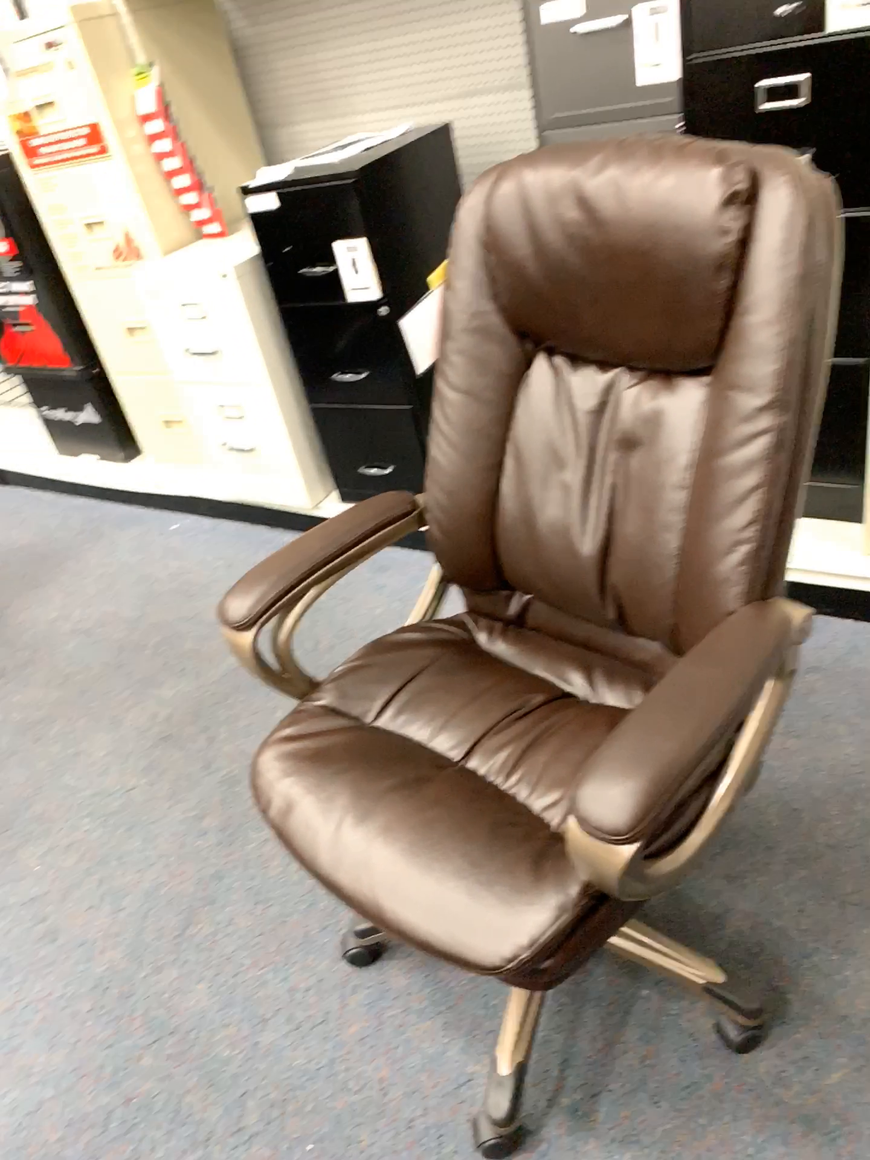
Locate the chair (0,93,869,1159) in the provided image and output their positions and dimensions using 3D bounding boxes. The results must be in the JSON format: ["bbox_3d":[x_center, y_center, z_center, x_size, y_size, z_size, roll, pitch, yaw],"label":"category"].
[{"bbox_3d":[0.118,0.089,1.199,0.812,1.112,0.727,-35,39,-29],"label":"chair"}]
